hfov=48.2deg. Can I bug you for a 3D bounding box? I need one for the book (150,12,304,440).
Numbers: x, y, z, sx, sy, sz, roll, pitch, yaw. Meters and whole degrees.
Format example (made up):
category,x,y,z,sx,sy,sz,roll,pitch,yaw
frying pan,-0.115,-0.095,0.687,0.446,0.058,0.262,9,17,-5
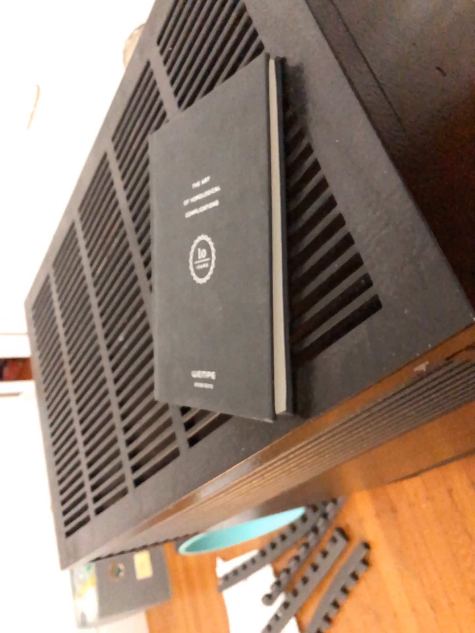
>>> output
category,x,y,z,sx,sy,sz,roll,pitch,yaw
book,-0.017,-0.050,0.378,0.161,0.020,0.250,-6,84,55
